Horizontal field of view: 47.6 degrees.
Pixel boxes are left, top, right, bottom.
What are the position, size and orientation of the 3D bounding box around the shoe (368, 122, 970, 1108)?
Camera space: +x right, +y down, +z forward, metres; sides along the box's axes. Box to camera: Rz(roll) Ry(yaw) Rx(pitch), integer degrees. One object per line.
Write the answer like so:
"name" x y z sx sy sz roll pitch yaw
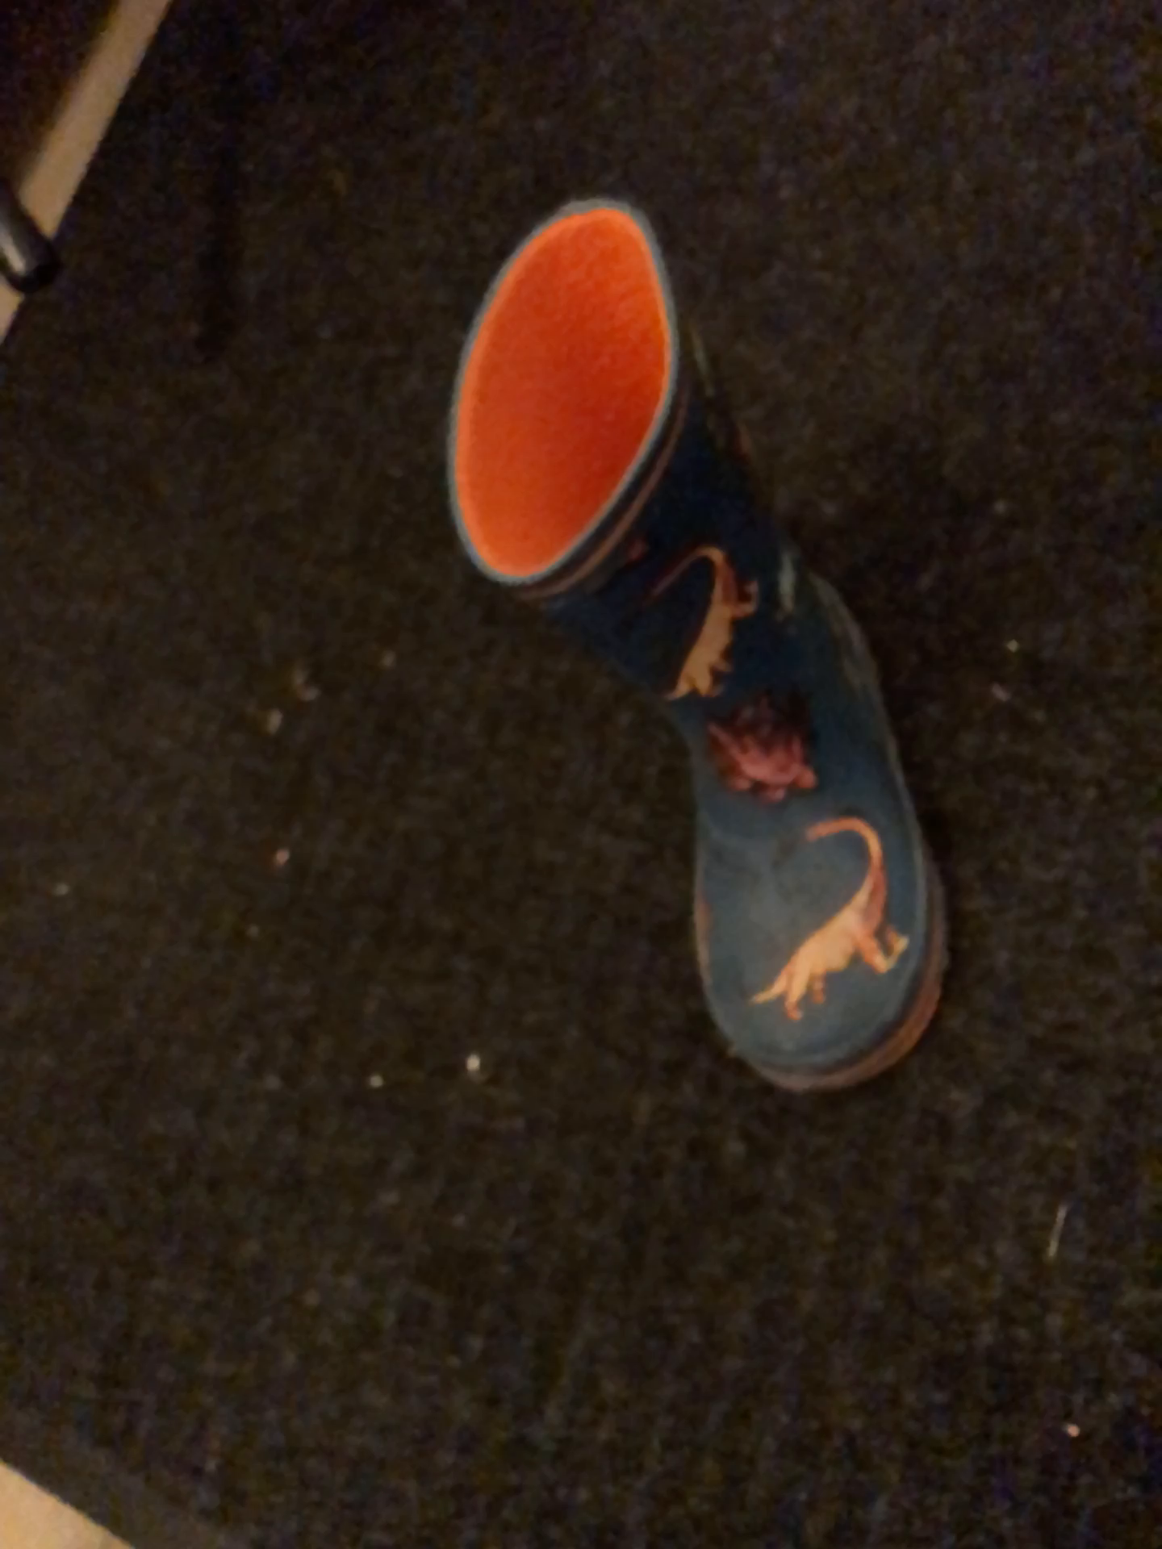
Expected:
"shoe" 0.036 -0.026 0.357 0.080 0.179 0.190 -11 62 24
